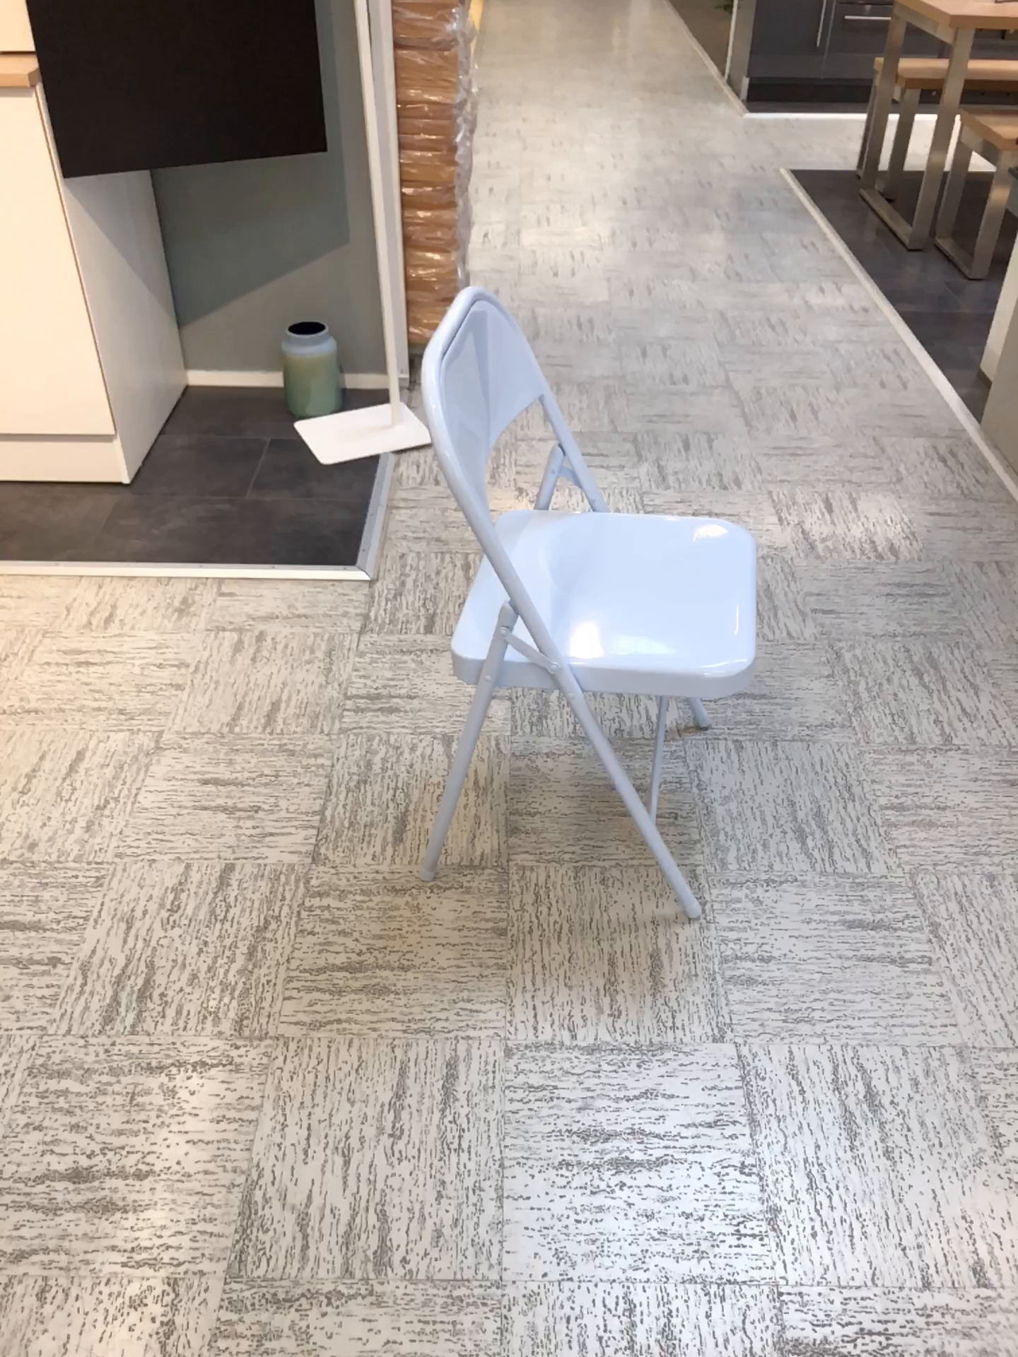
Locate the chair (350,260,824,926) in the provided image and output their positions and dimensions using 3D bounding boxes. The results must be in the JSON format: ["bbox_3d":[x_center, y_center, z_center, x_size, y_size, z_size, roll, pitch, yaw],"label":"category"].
[{"bbox_3d":[0.108,-0.123,1.536,0.480,0.705,0.514,6,37,7],"label":"chair"}]
